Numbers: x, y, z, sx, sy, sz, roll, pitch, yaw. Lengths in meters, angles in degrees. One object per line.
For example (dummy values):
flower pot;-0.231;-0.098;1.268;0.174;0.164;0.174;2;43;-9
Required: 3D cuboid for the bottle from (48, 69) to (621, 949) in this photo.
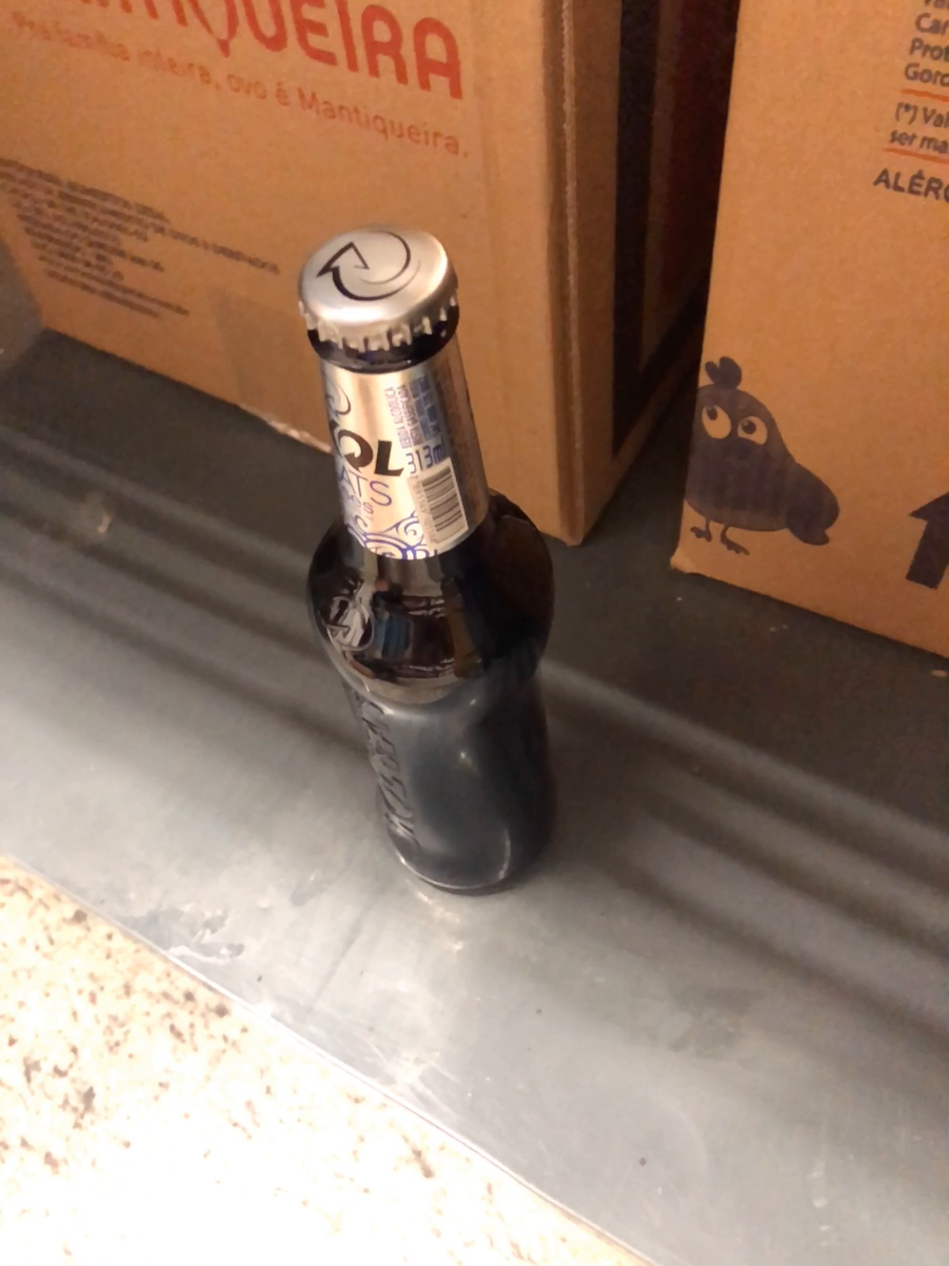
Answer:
bottle;-0.011;-0.004;0.277;0.070;0.239;0.070;-3;55;5
